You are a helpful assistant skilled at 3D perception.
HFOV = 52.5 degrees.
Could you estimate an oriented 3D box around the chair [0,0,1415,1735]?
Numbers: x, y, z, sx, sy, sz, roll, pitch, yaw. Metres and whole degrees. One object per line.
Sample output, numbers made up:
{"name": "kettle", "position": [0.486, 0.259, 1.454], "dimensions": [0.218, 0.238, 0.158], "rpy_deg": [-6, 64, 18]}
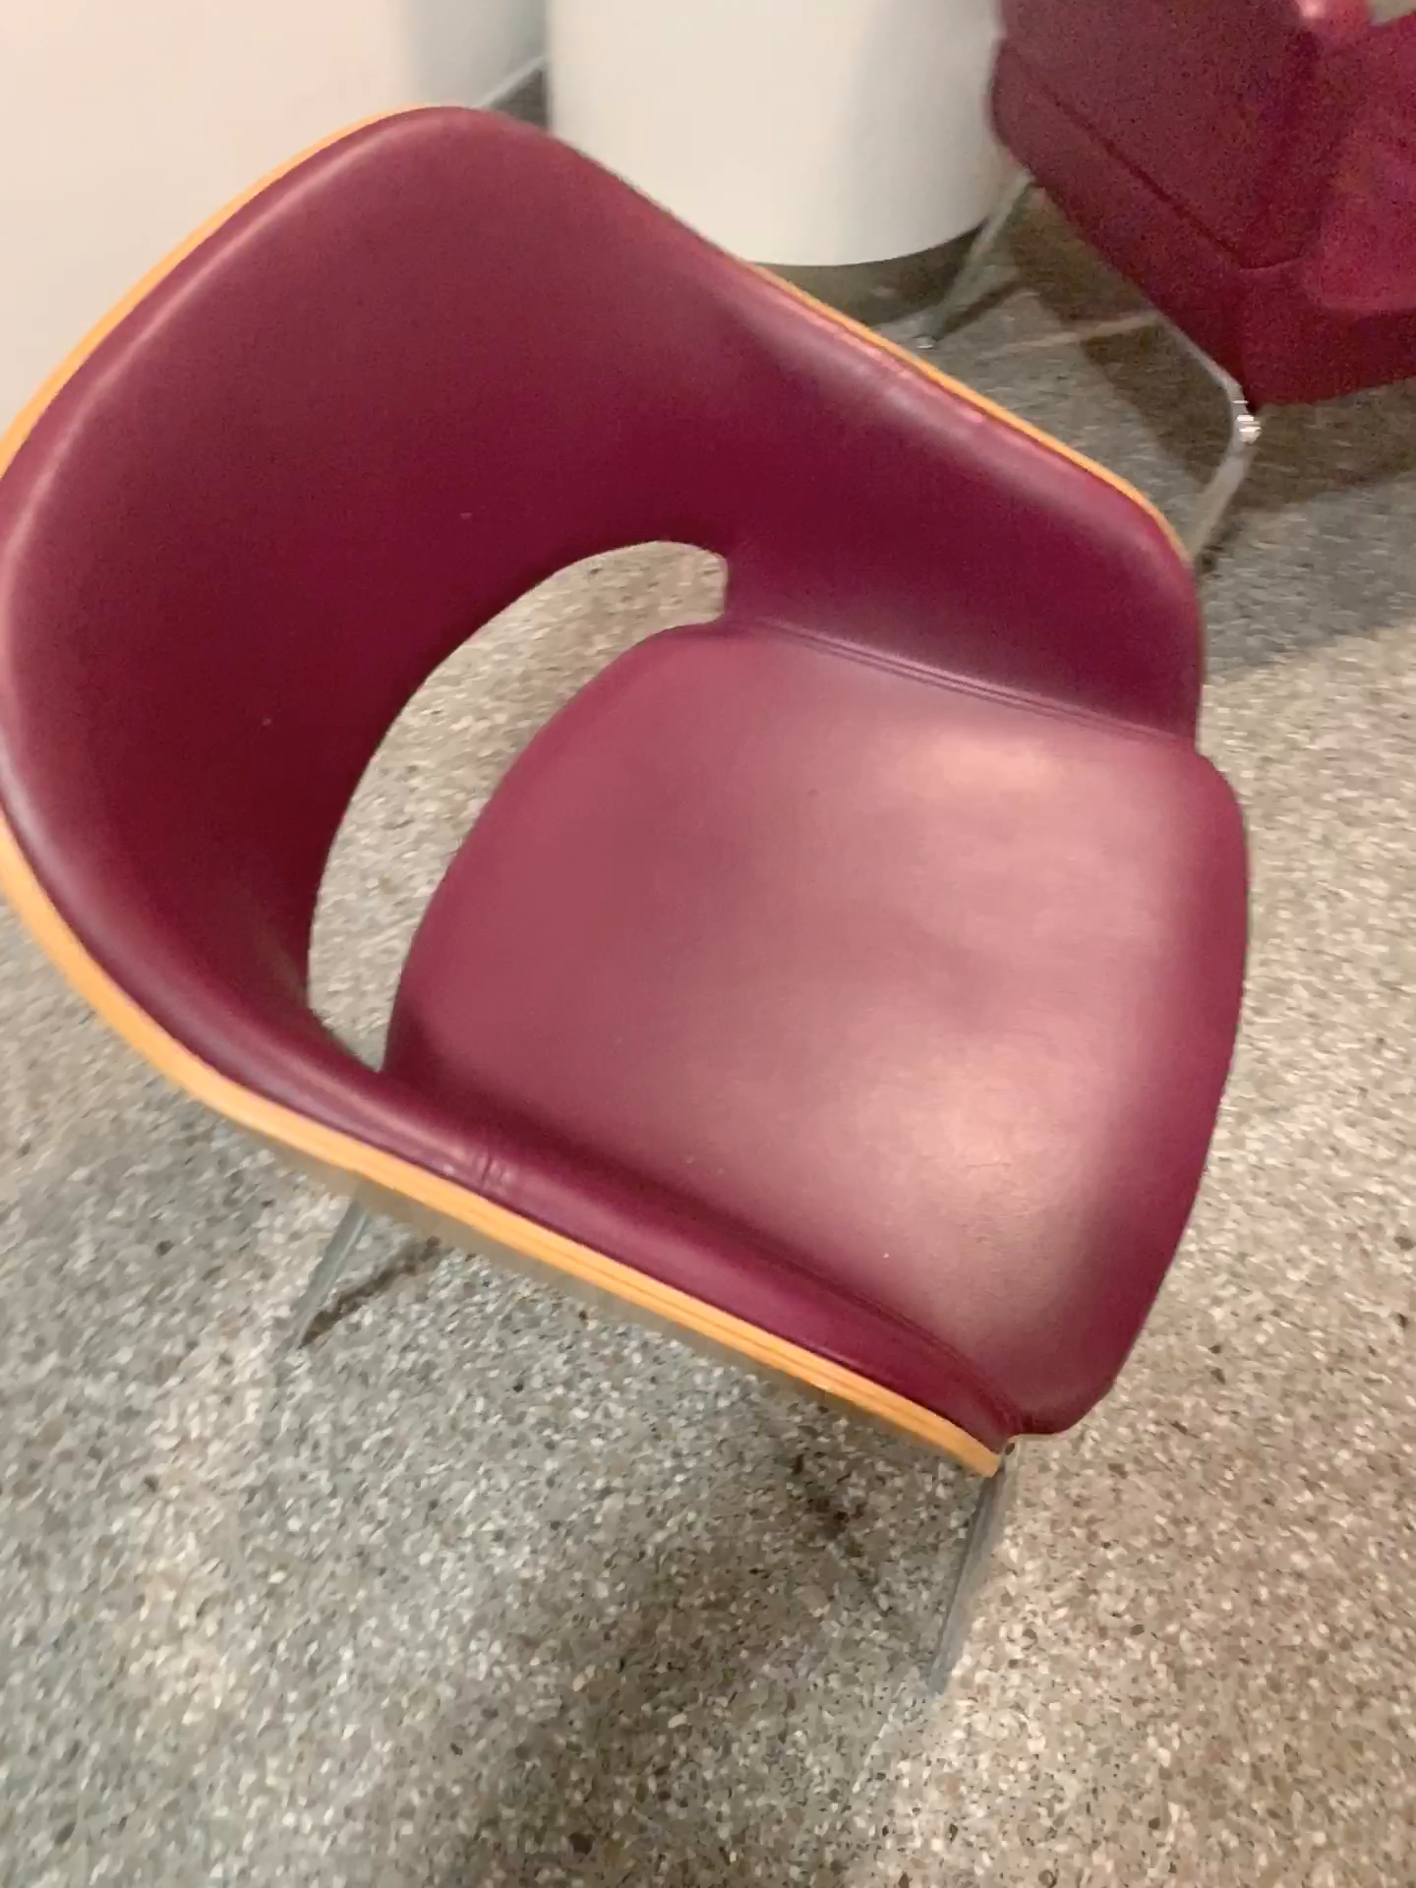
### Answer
{"name": "chair", "position": [0.049, -0.006, 0.824], "dimensions": [0.630, 0.735, 0.574], "rpy_deg": [21, 59, 9]}
